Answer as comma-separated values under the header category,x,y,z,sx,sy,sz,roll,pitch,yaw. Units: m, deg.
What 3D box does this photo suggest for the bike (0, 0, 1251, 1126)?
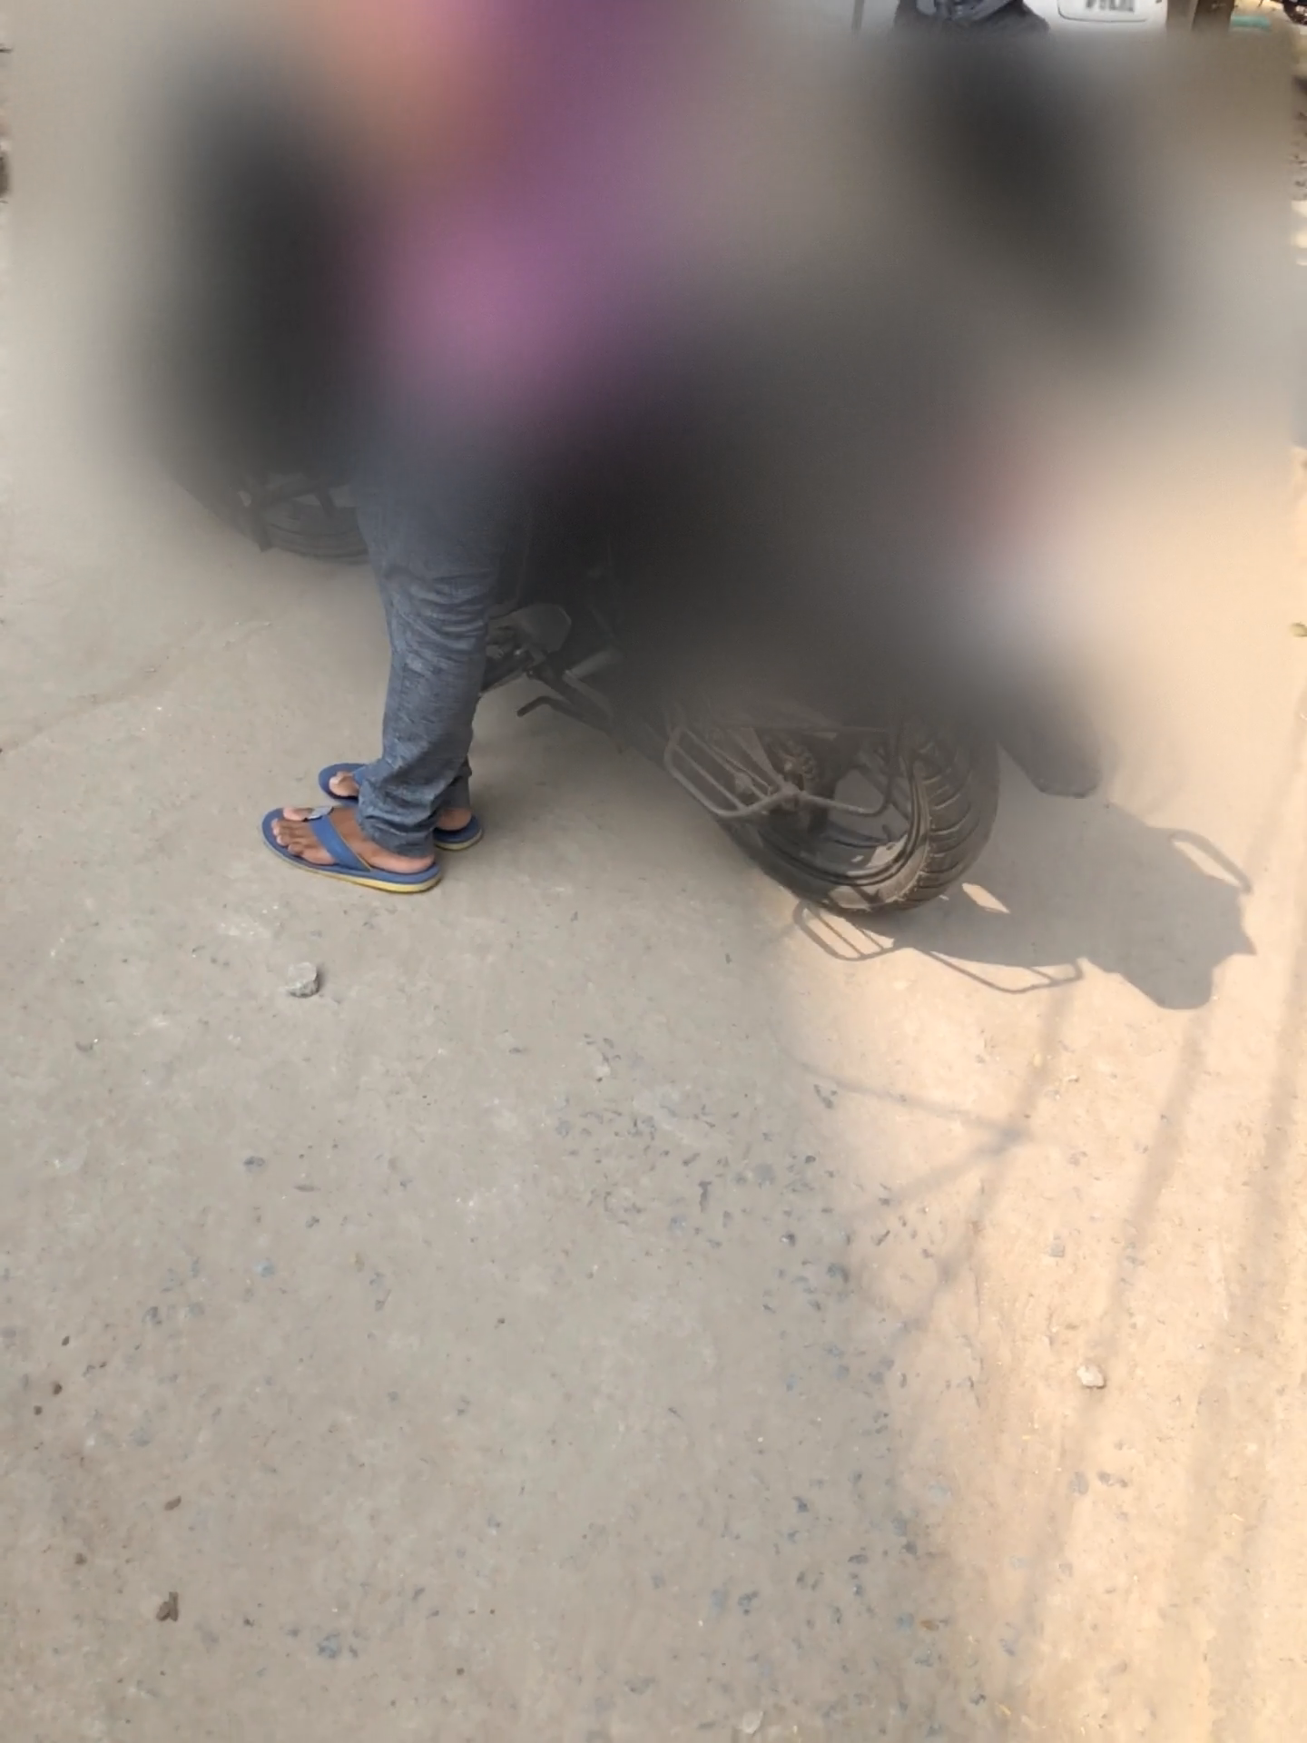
category,x,y,z,sx,sy,sz,roll,pitch,yaw
bike,-0.344,-0.621,1.866,1.686,0.958,0.688,31,42,25
